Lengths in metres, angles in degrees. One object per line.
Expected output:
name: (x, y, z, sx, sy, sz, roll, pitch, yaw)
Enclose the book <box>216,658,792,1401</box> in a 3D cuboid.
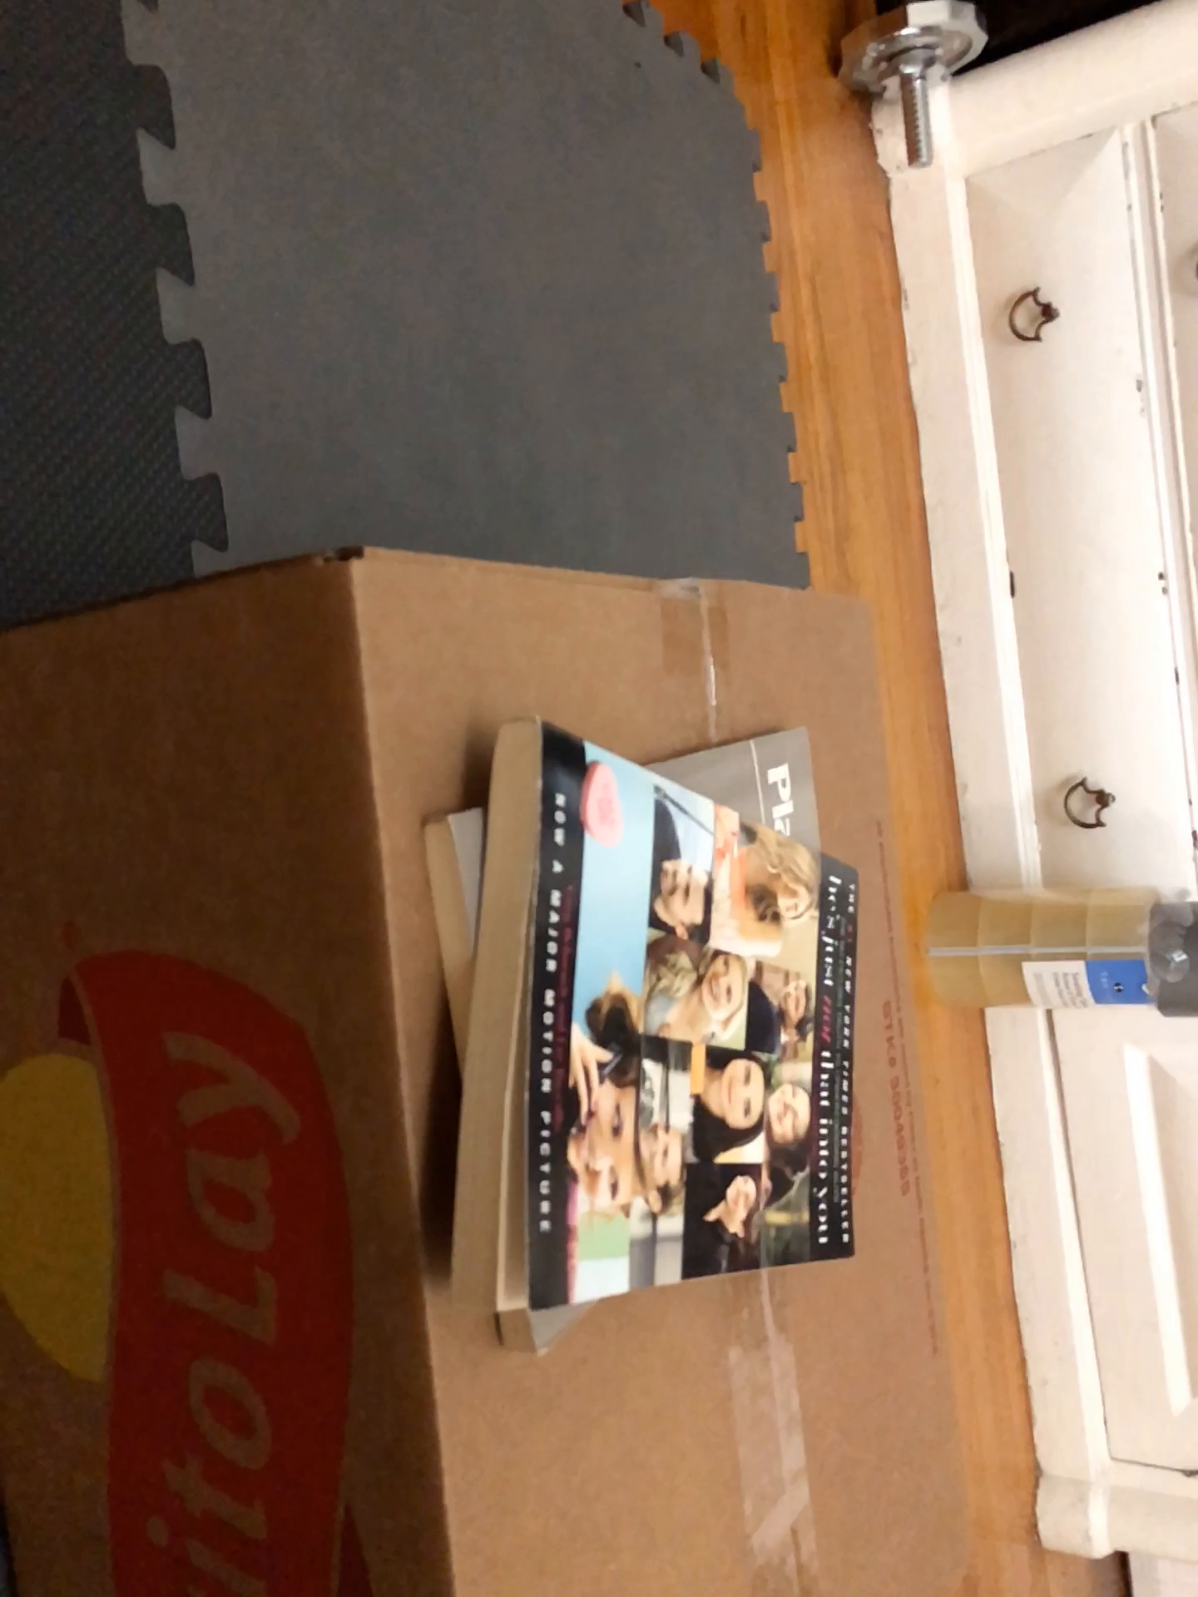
book: (-0.003, 0.068, 0.365, 0.231, 0.010, 0.150, 21, 68, -54)
